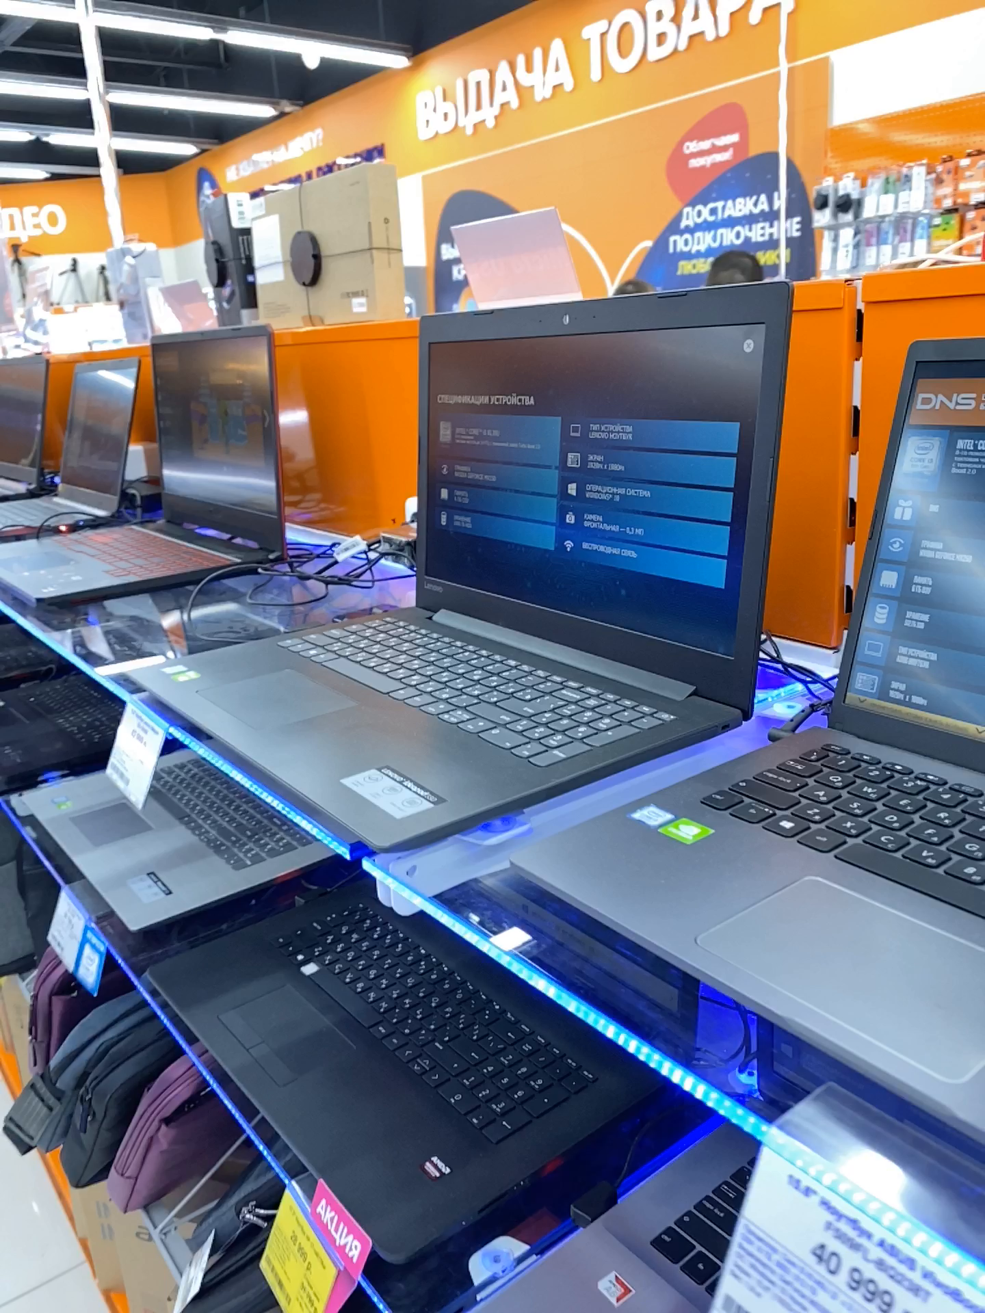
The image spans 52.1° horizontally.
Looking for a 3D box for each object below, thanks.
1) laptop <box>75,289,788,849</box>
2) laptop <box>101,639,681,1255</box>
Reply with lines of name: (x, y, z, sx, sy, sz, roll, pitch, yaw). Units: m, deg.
laptop: (-0.055, -0.097, 0.667, 0.289, 0.245, 0.378, -15, 20, -35)
laptop: (-0.090, 0.172, 0.810, 0.271, 0.263, 0.402, -14, 20, -38)
